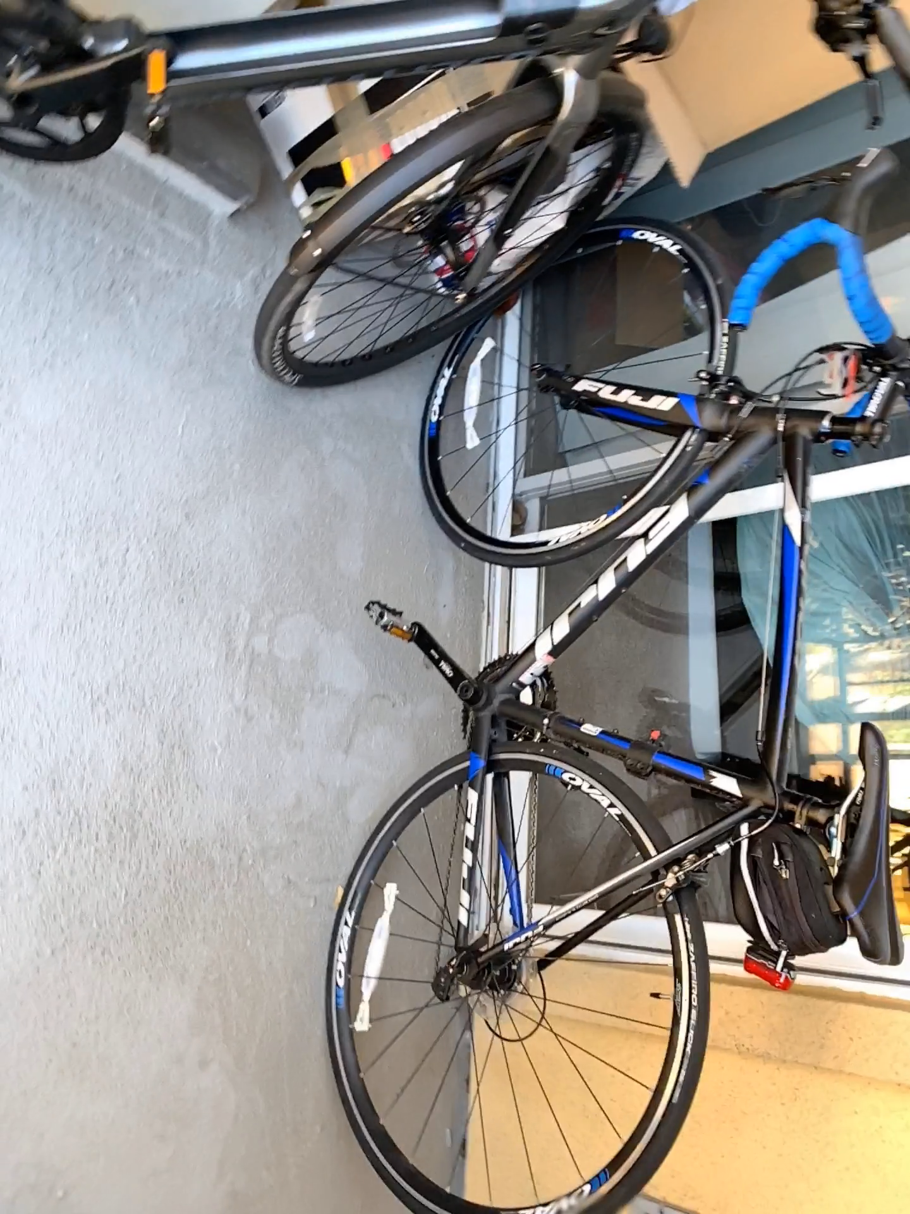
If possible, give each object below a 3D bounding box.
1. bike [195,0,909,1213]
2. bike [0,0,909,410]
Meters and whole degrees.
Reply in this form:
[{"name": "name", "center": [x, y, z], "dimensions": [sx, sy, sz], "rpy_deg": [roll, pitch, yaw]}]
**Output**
[{"name": "bike", "center": [0.250, 0.070, 1.320], "dimensions": [0.365, 0.931, 1.501], "rpy_deg": [26, 68, -45]}, {"name": "bike", "center": [-0.205, -0.797, 0.926], "dimensions": [1.594, 0.970, 0.621], "rpy_deg": [7, 78, -50]}]
